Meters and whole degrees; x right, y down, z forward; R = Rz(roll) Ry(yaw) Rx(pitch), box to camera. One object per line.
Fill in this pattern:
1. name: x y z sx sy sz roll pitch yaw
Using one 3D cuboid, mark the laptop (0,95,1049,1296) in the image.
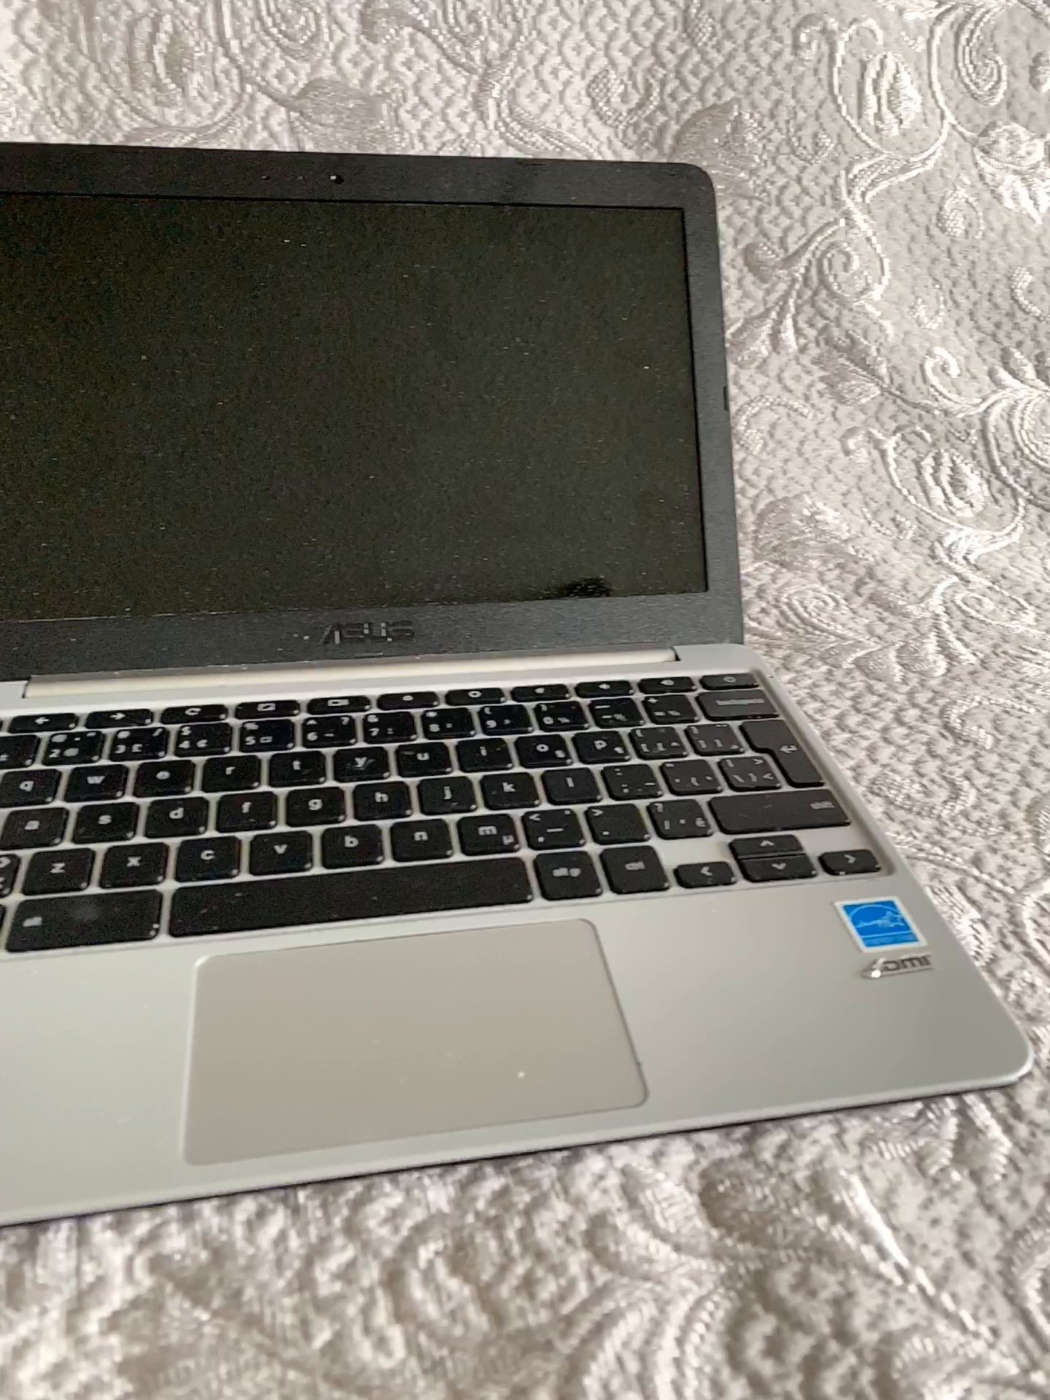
1. laptop: -0.035 -0.046 0.305 0.288 0.127 0.288 -3 40 -18
